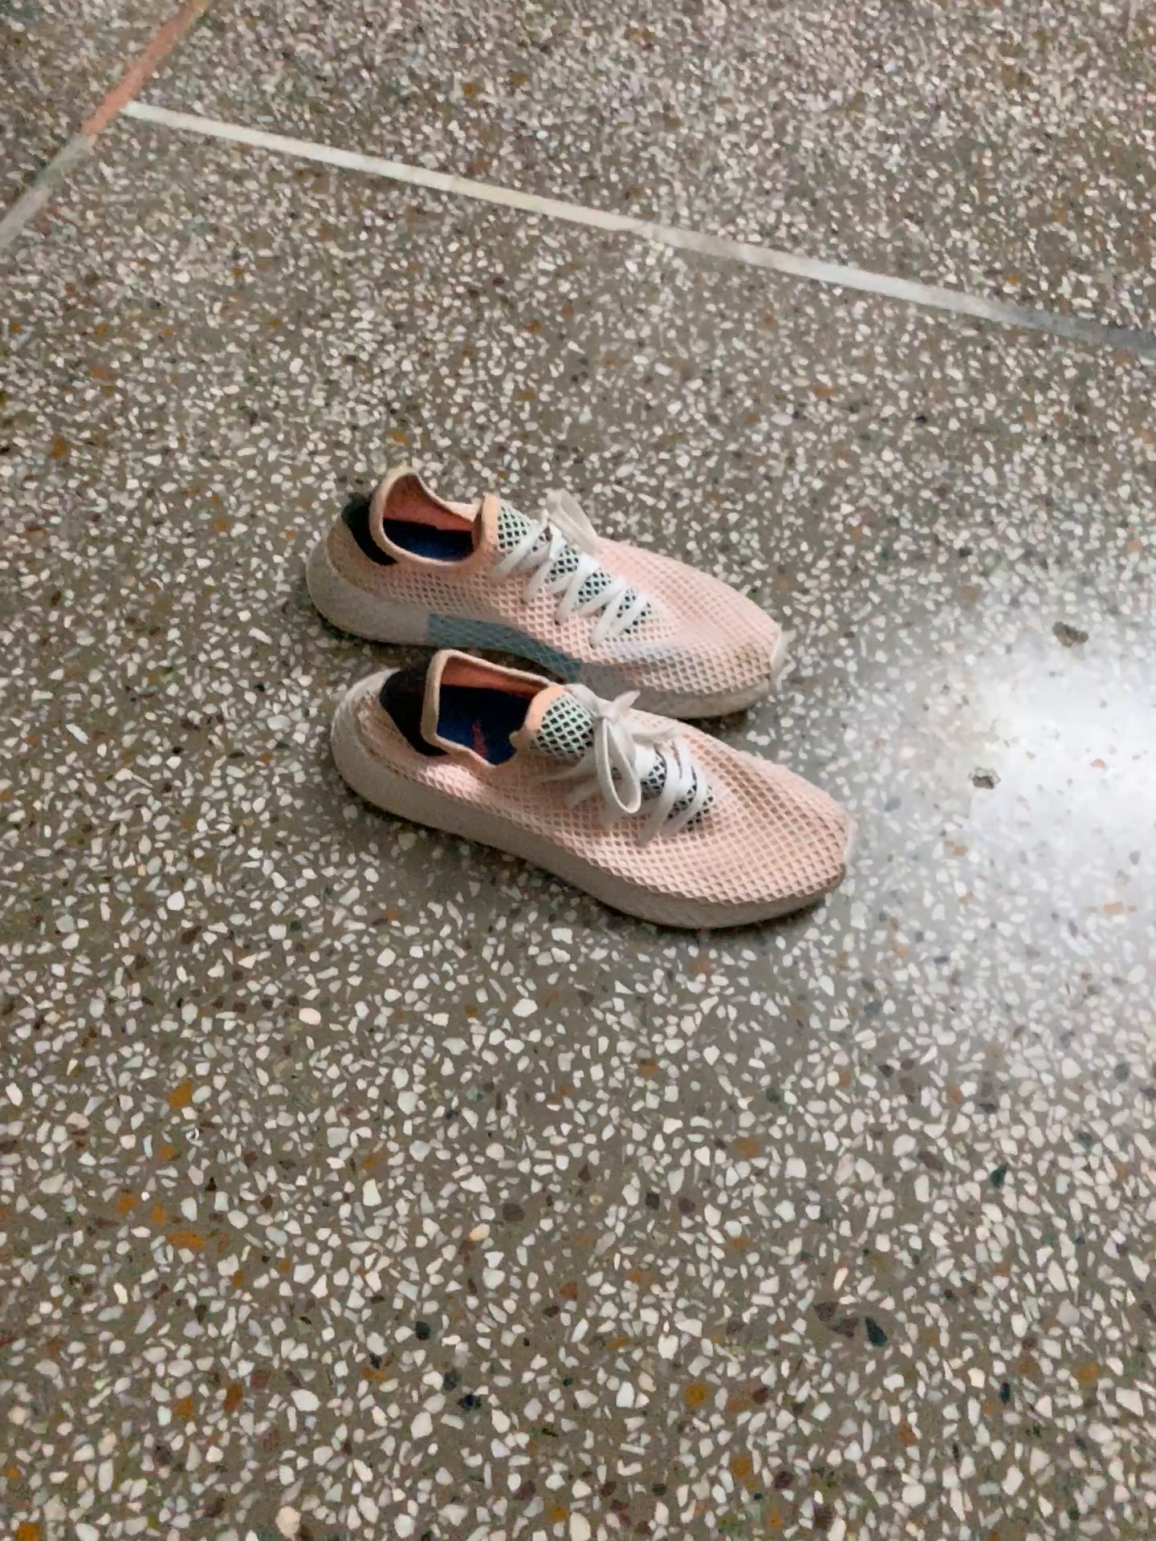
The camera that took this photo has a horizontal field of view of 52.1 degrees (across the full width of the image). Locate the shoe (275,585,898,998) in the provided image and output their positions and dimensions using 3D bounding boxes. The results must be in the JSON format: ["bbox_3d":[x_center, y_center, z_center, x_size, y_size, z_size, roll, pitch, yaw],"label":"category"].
[{"bbox_3d":[0.005,0.012,0.675,0.310,0.100,0.122,16,64,7],"label":"shoe"}]

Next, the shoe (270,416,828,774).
[{"bbox_3d":[-0.016,-0.111,0.749,0.310,0.100,0.122,14,64,6],"label":"shoe"}]
